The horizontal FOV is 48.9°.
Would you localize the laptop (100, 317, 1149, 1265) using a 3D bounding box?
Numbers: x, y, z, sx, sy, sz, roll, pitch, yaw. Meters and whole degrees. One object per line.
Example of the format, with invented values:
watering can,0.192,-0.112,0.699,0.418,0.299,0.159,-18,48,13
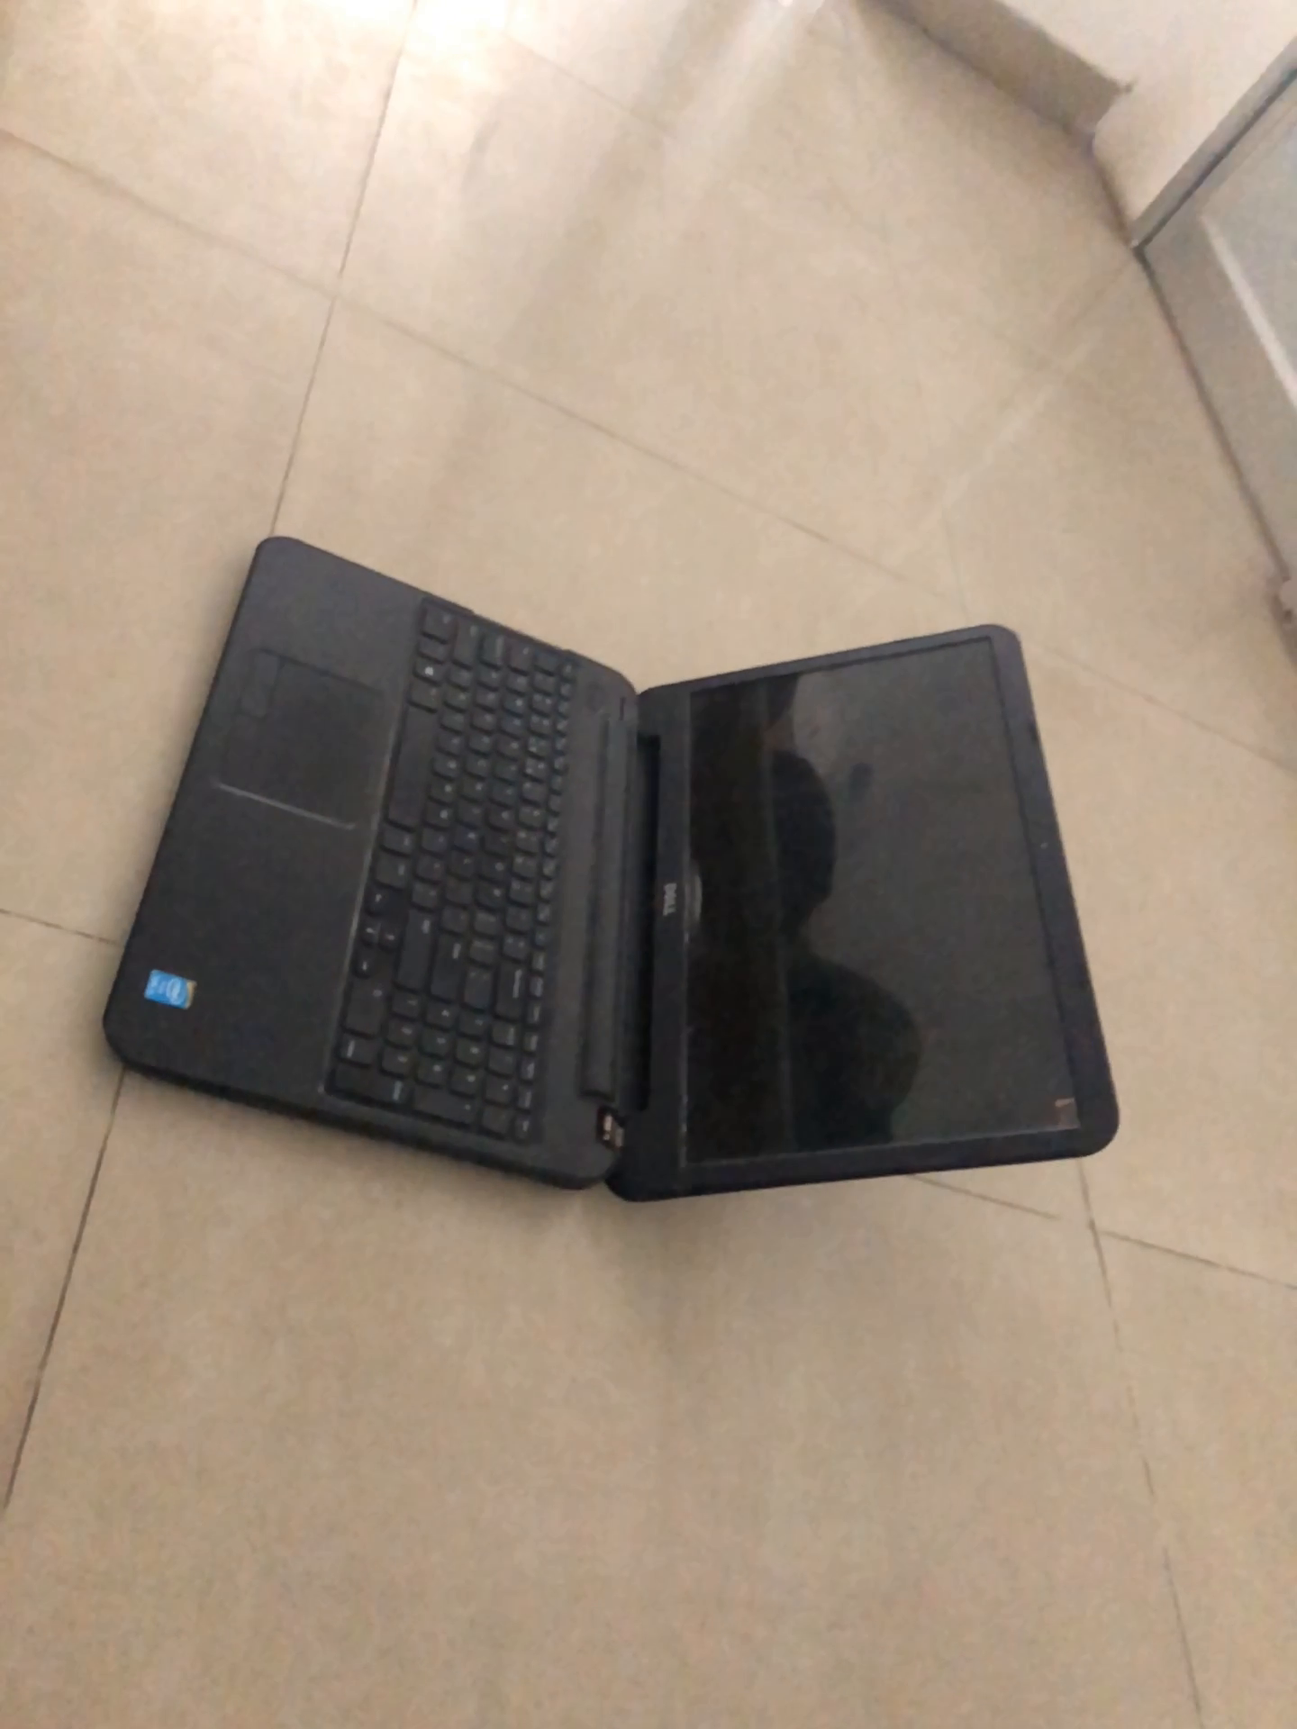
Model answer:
laptop,0.003,-0.034,0.744,0.428,0.164,0.359,20,47,-20
